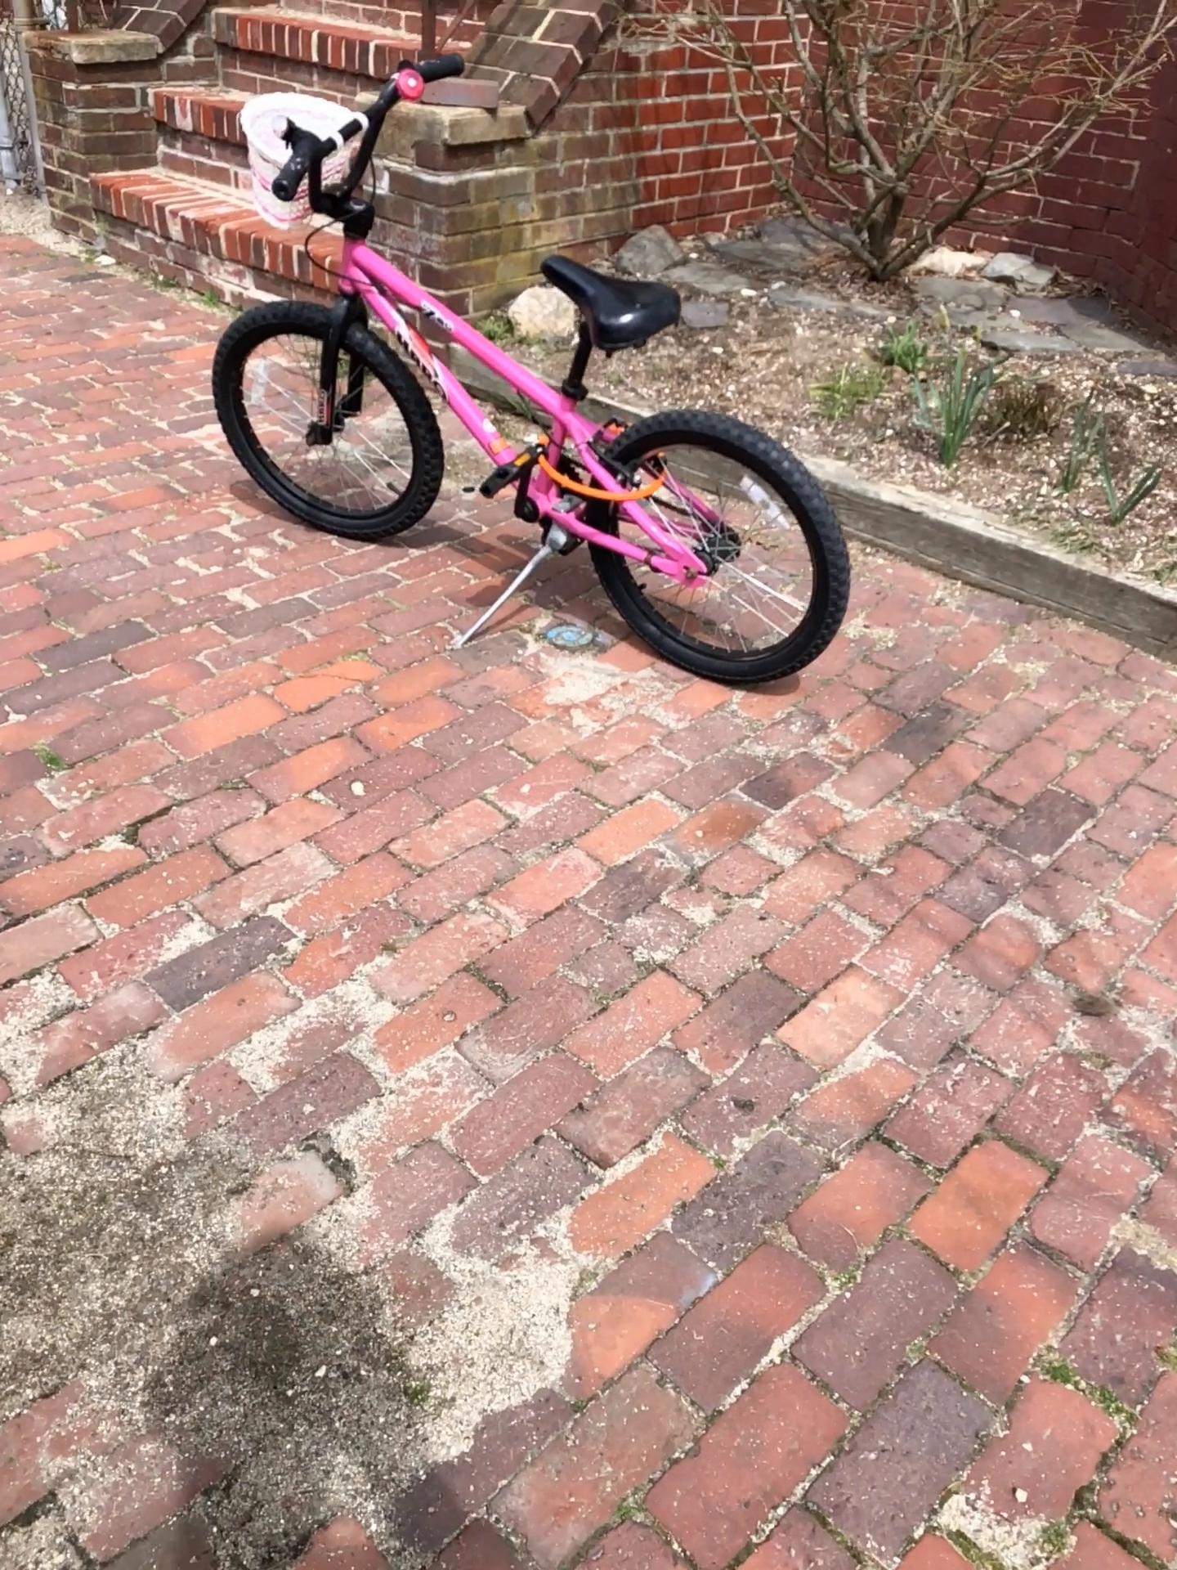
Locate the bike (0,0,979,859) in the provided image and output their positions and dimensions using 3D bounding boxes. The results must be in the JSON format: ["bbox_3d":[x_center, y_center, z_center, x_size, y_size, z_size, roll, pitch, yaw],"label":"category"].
[{"bbox_3d":[-0.223,-0.684,2.112,1.339,0.906,0.714,24,38,21],"label":"bike"}]
